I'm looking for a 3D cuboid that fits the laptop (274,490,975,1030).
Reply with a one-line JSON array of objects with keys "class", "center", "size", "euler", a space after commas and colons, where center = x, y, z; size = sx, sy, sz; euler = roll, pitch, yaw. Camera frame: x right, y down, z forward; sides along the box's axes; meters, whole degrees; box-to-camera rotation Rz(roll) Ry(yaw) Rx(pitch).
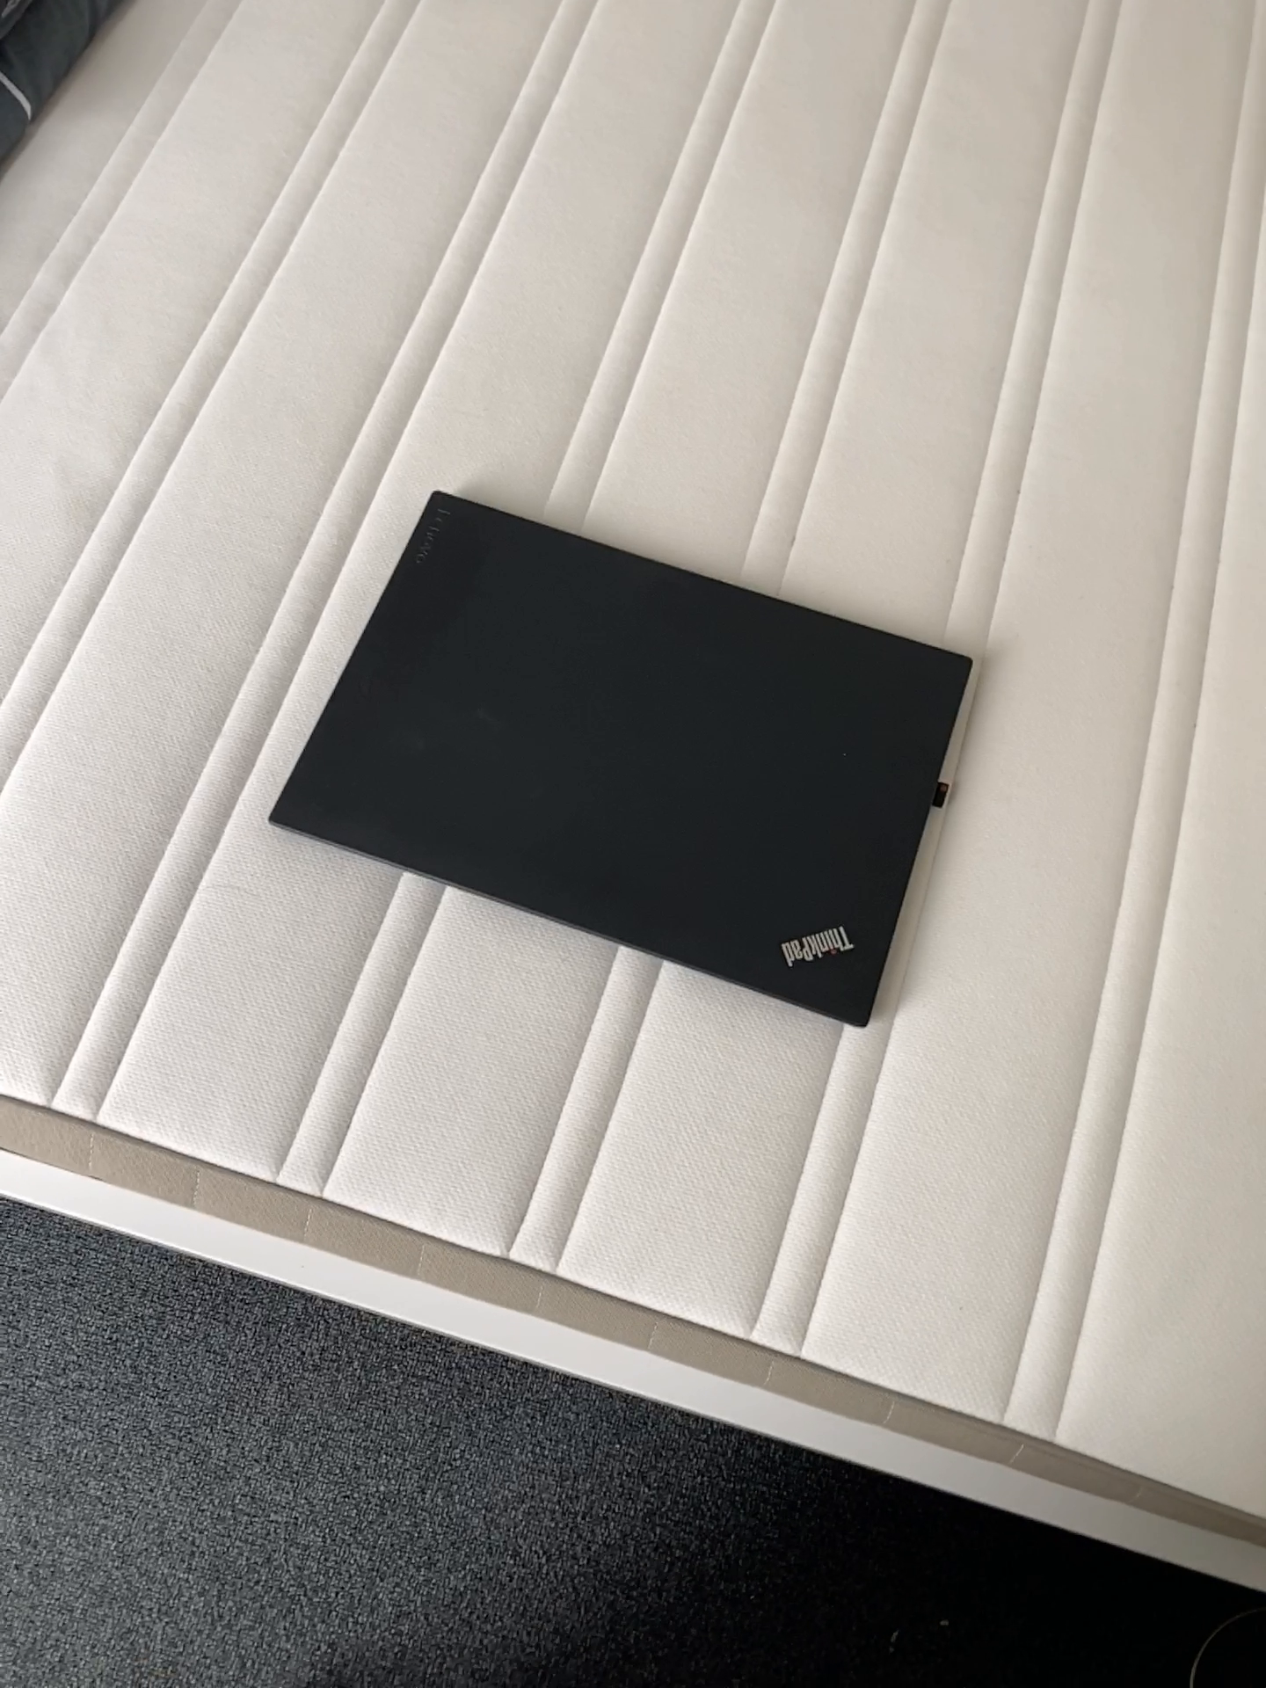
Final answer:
[{"class": "laptop", "center": [0.001, -0.049, 0.622], "size": [0.288, 0.005, 0.193], "euler": [19, 71, 5]}]
